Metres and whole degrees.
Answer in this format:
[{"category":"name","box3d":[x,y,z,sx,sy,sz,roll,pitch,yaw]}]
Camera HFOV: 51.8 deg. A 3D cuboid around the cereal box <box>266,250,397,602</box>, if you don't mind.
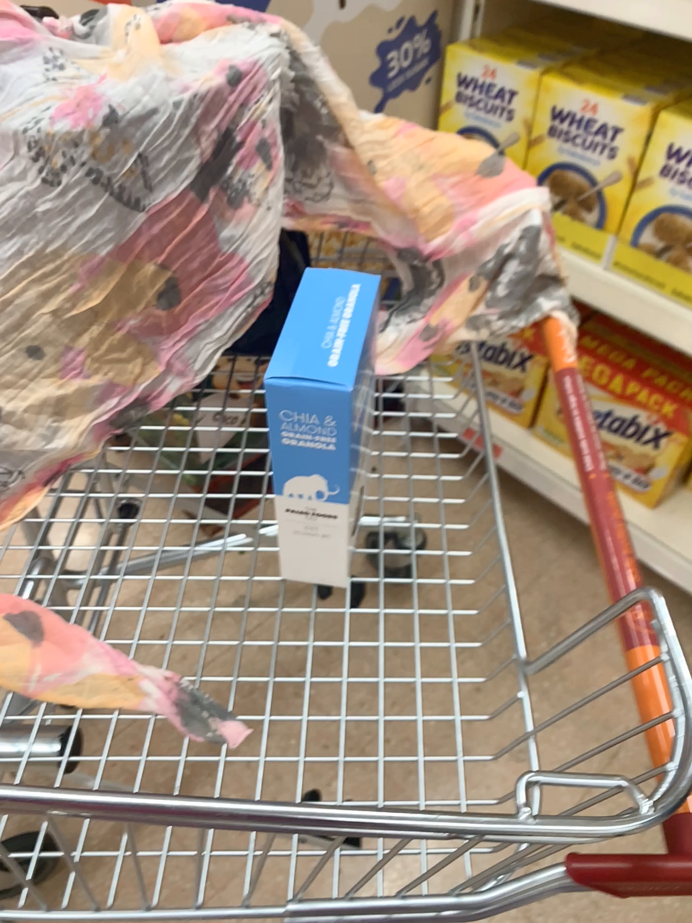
[{"category":"cereal box","box3d":[-0.006,-0.021,0.517,0.060,0.208,0.141,6,45,6]}]
